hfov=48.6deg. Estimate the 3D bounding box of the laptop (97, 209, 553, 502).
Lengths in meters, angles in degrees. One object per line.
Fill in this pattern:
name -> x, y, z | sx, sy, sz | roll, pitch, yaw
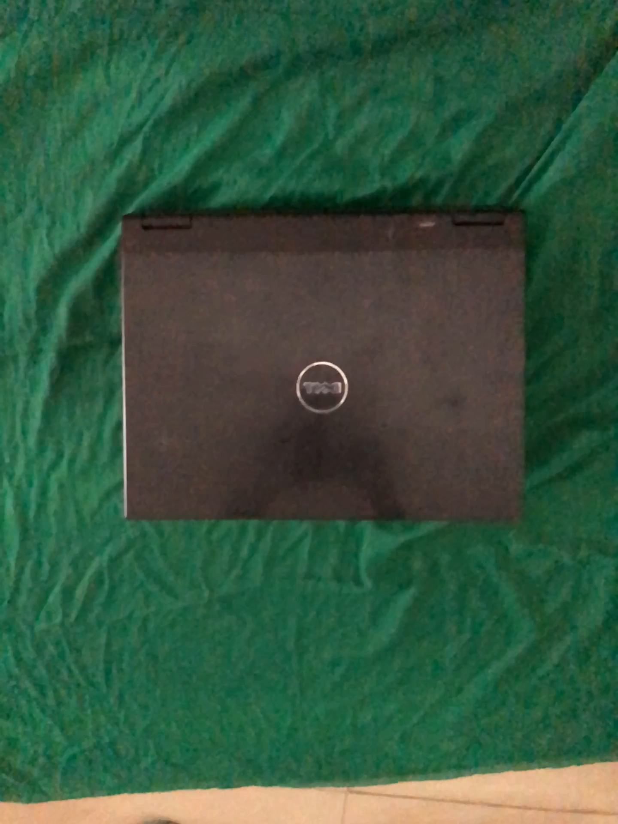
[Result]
laptop -> 0.011, -0.039, 0.540 | 0.306, 0.066, 0.226 | 0, 116, 2
